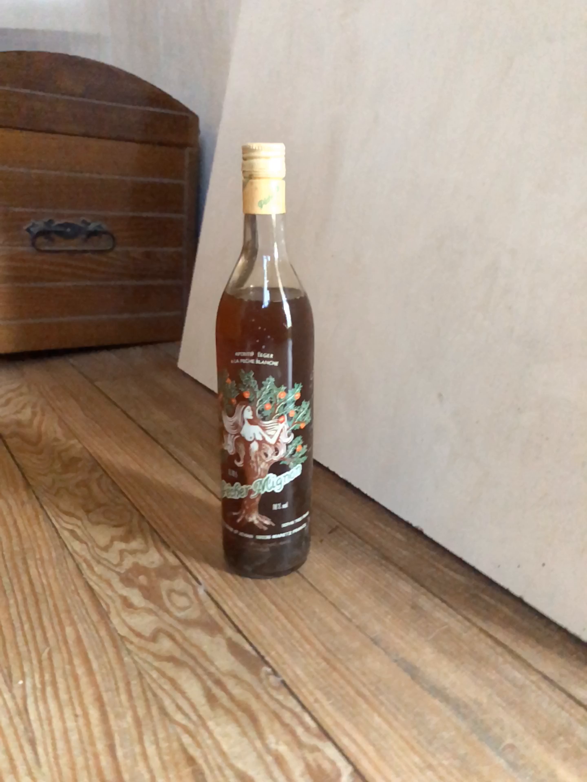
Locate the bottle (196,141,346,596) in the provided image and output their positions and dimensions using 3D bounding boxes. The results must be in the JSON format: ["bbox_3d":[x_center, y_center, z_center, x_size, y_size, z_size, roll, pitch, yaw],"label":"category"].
[{"bbox_3d":[-0.013,-0.011,0.472,0.080,0.318,0.070,6,22,13],"label":"bottle"}]
